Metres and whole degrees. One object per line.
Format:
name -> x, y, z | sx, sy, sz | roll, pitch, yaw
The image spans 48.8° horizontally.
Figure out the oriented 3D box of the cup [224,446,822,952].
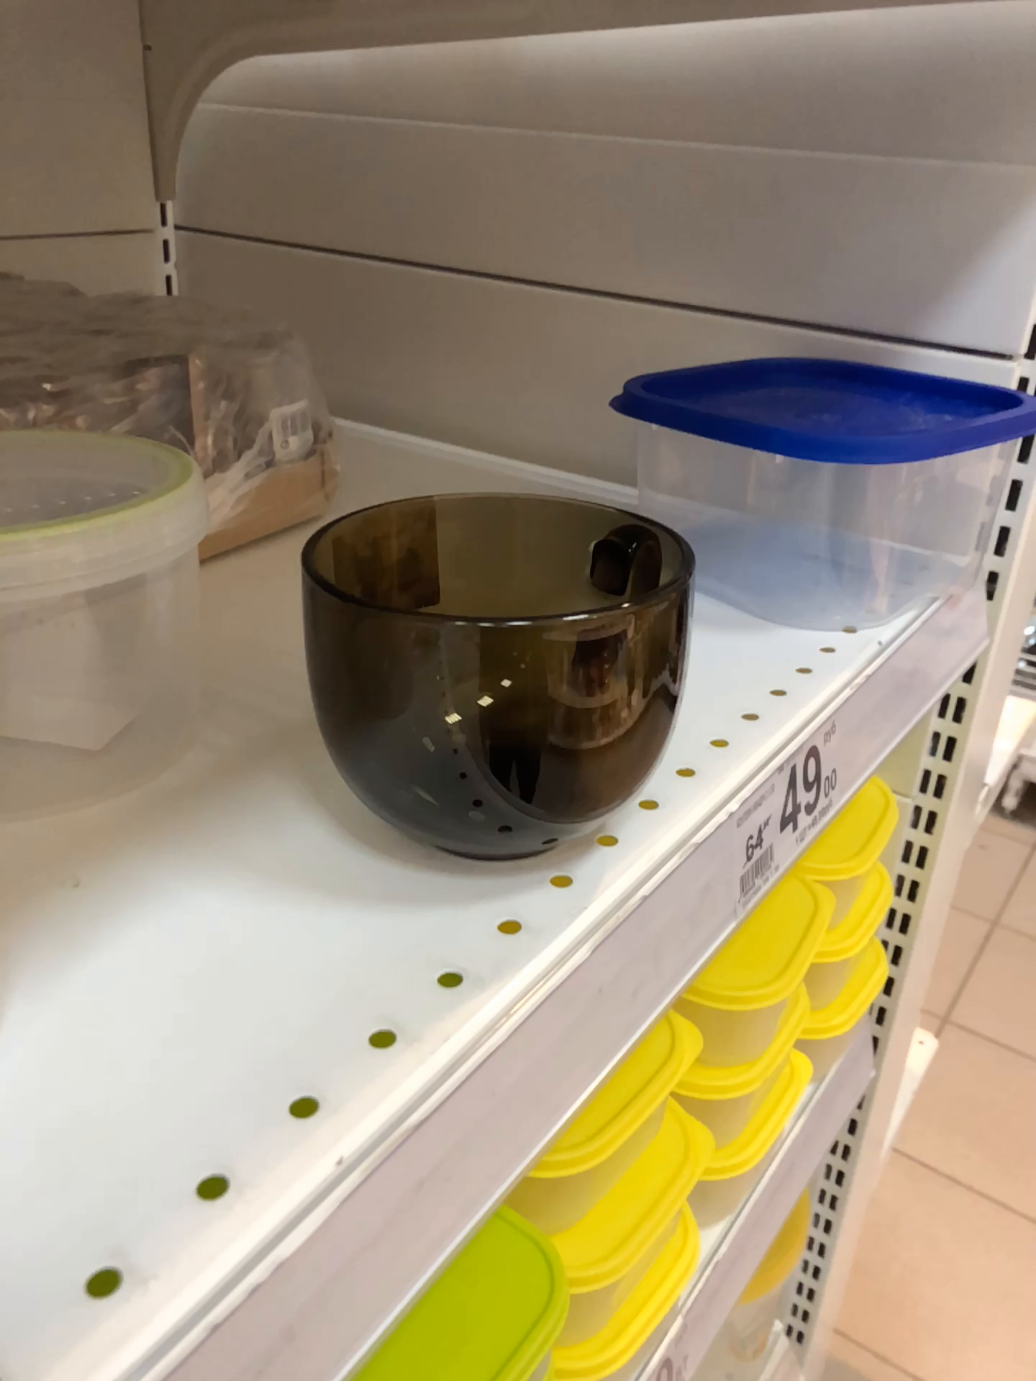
cup -> 0.007, -0.011, 0.322 | 0.105, 0.071, 0.136 | 18, 30, 27
